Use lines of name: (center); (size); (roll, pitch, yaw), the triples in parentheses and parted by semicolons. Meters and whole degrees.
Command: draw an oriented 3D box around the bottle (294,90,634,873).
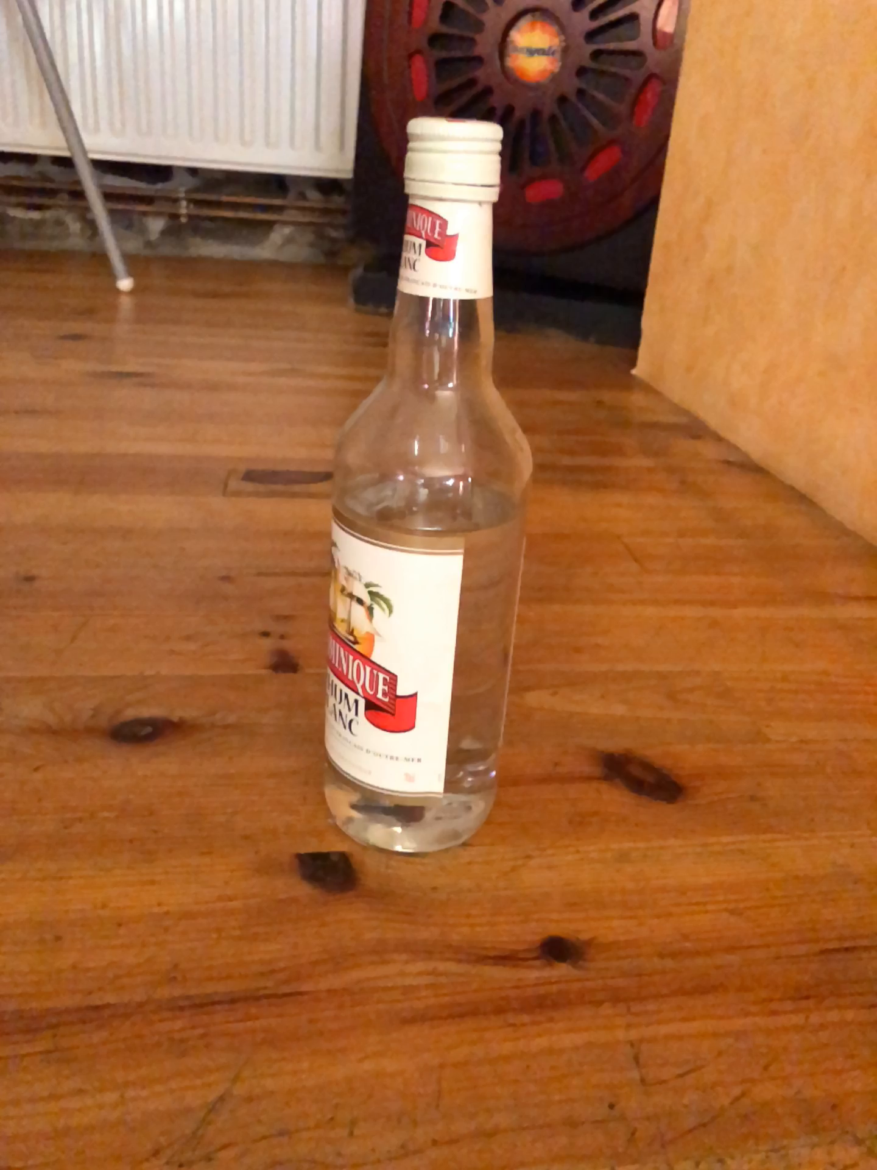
bottle: (-0.004, -0.034, 0.357); (0.080, 0.259, 0.090); (-5, 26, -19)
